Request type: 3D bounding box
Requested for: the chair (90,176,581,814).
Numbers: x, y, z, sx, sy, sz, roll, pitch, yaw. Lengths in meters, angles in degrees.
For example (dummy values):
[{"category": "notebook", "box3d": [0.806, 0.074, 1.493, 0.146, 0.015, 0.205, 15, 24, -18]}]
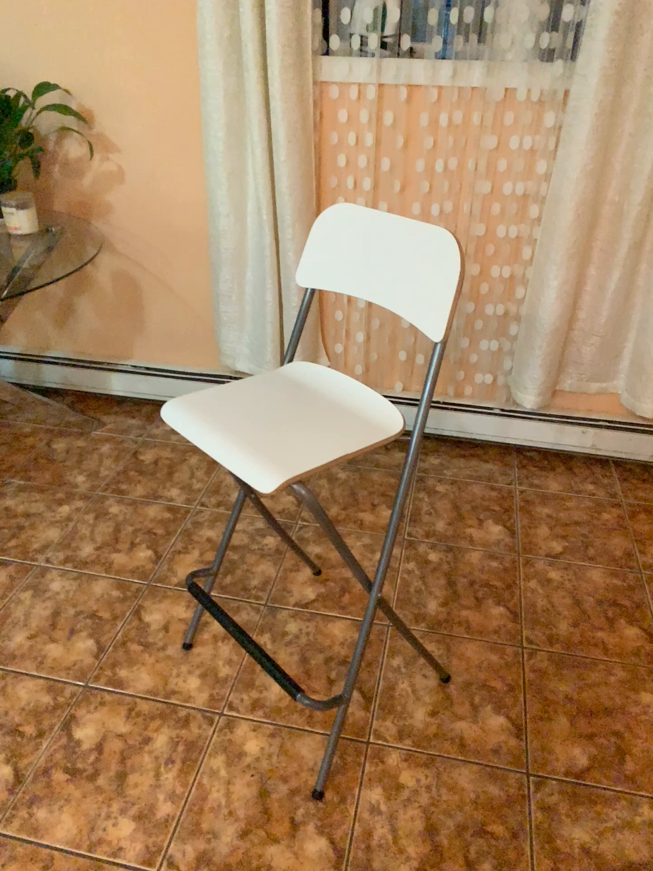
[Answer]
[{"category": "chair", "box3d": [-0.009, 0.083, 1.345, 0.600, 1.006, 0.544, 29, 40, 36]}]
